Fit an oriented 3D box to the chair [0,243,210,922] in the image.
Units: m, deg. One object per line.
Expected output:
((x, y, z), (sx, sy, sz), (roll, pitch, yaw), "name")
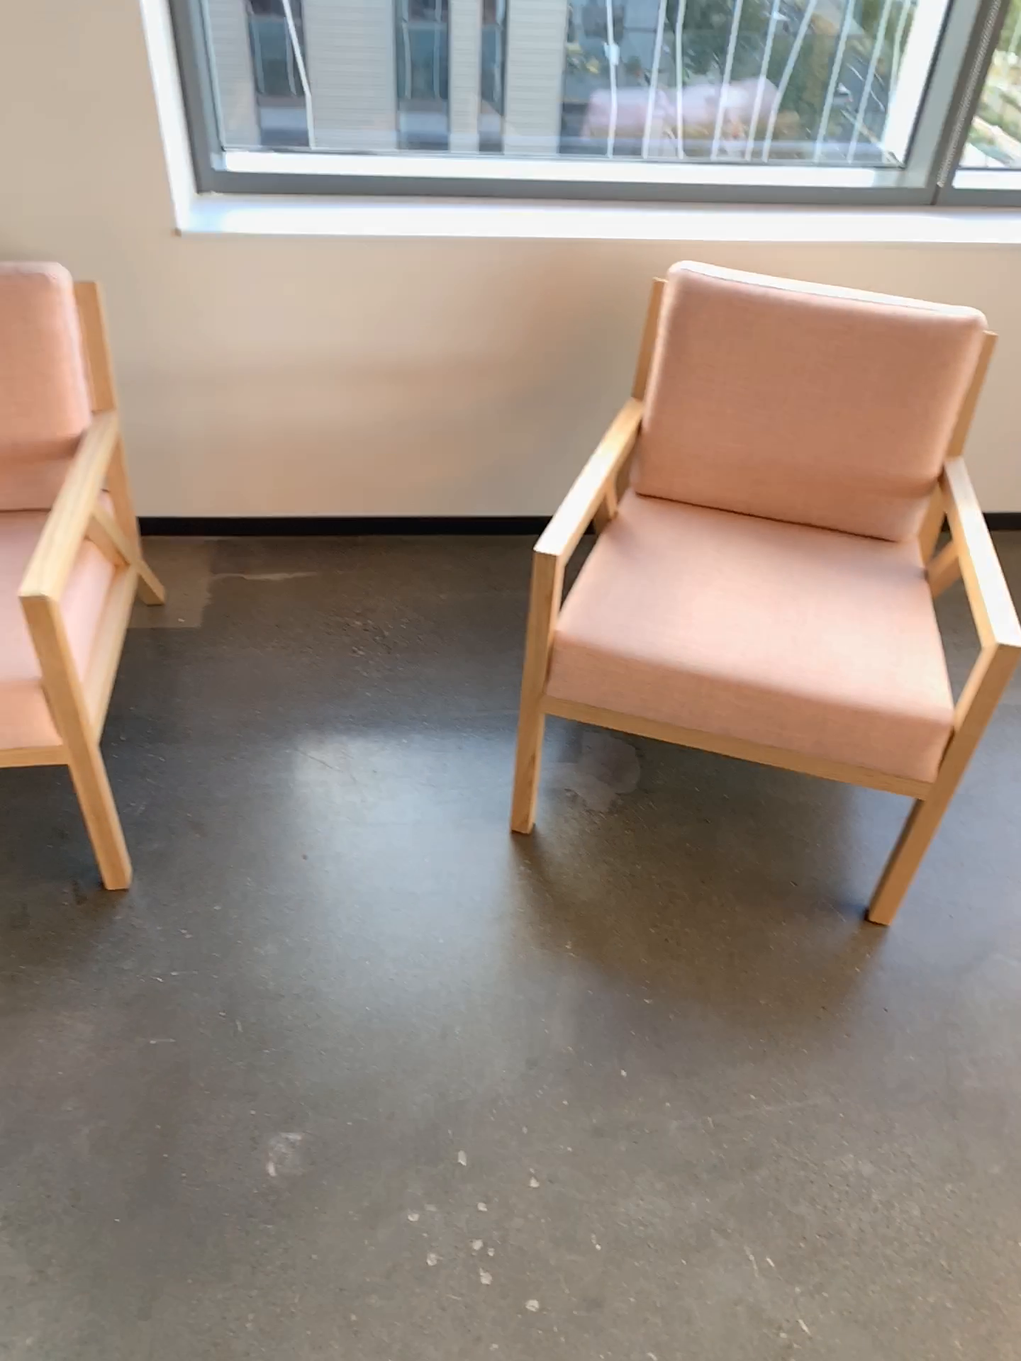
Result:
((-0.990, -0.172, 1.727), (0.740, 0.795, 0.775), (-2, 43, -5), "chair")

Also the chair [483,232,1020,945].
((0.431, -0.187, 1.790), (0.741, 0.795, 0.774), (13, 42, 10), "chair")
